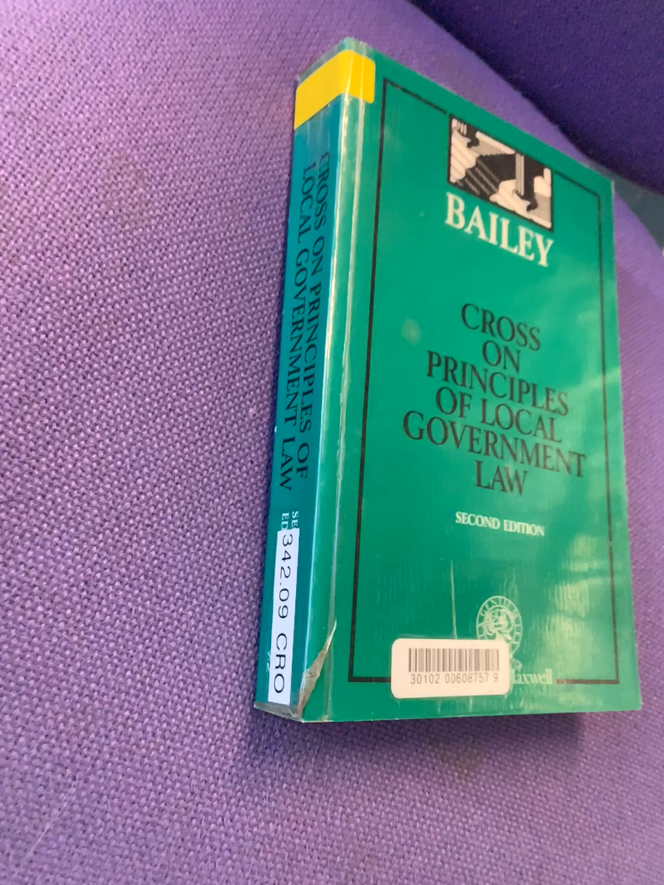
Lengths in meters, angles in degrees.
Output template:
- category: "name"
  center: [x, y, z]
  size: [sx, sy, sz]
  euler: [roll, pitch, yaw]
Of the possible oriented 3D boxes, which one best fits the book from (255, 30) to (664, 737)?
- category: "book"
  center: [0.057, -0.018, 0.275]
  size: [0.160, 0.040, 0.236]
  euler: [11, 72, -31]
